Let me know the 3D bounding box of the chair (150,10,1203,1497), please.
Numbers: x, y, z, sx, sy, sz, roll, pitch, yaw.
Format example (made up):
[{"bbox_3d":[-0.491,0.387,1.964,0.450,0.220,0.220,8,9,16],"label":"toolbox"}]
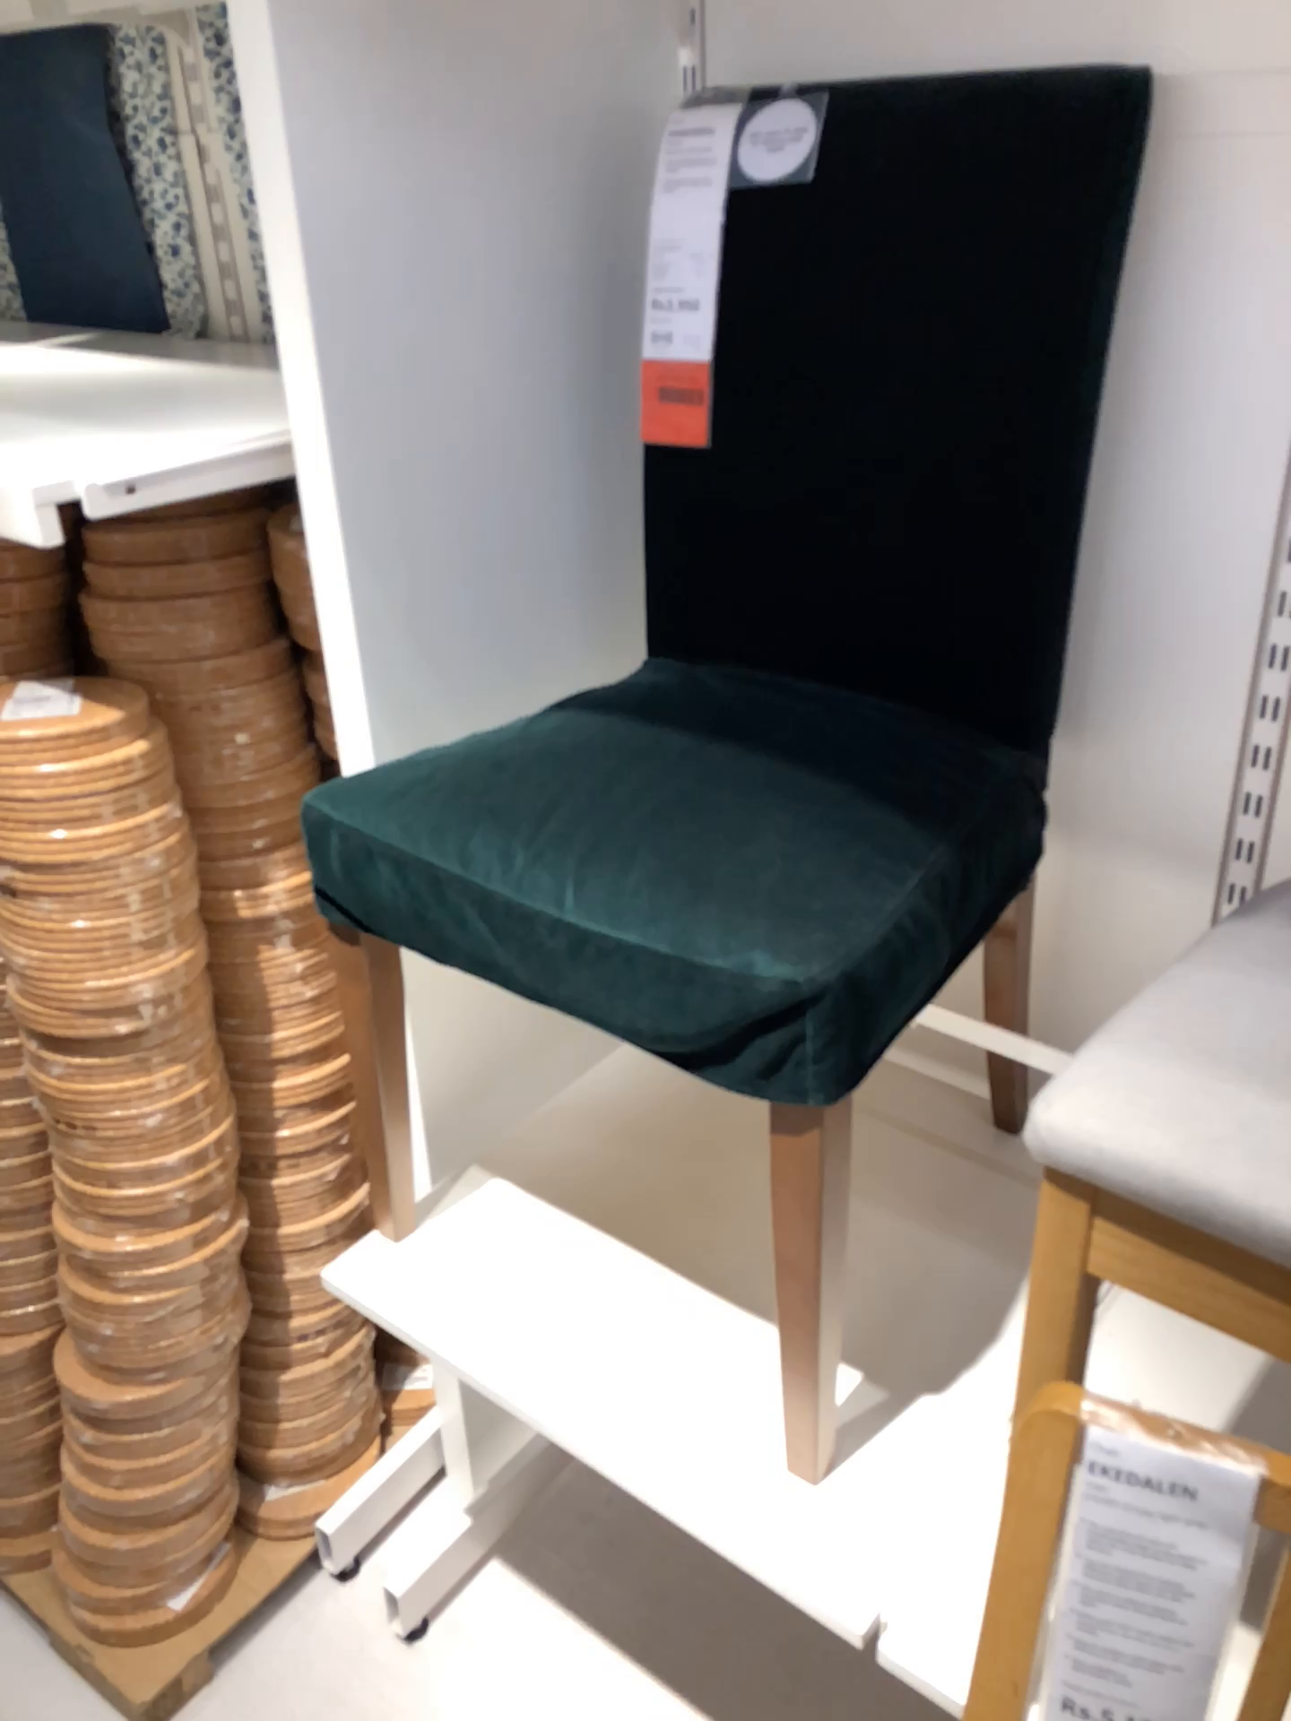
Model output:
[{"bbox_3d":[0.055,-0.110,1.106,0.471,0.914,0.512,17,33,34],"label":"chair"}]
